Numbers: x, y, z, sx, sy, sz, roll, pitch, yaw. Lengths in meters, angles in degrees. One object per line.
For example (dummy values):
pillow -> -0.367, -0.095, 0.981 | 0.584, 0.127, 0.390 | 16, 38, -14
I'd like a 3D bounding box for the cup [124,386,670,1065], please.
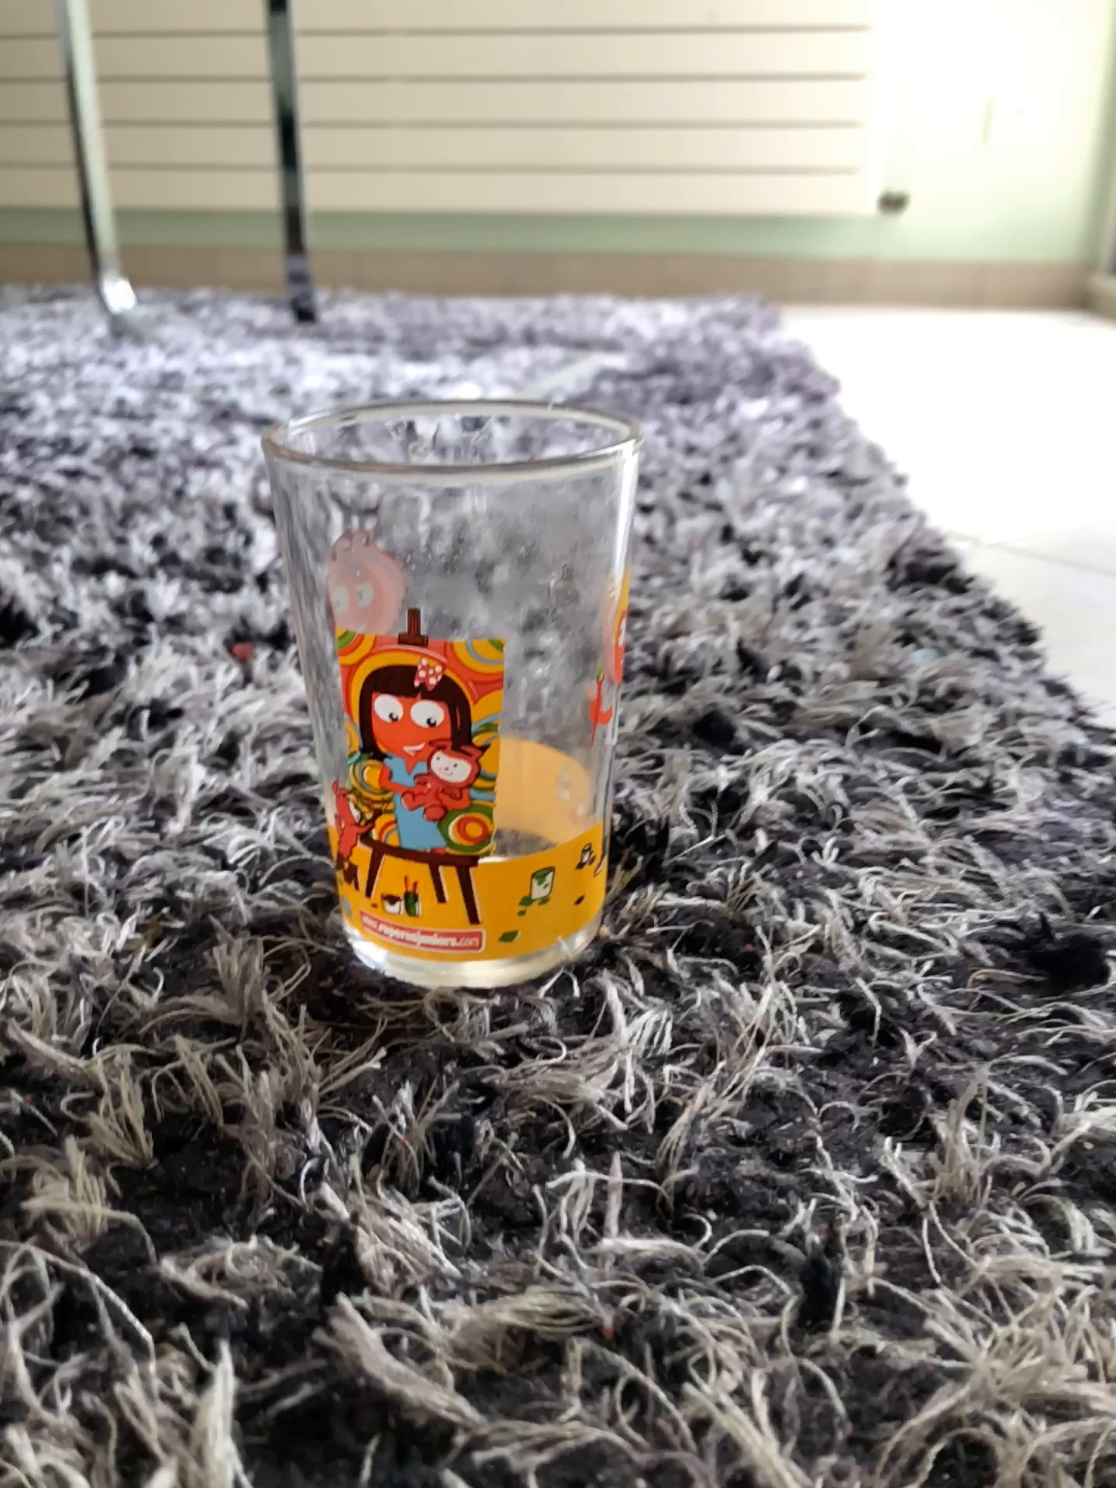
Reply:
cup -> -0.023, -0.009, 0.230 | 0.070, 0.100, 0.070 | 0, 22, 0
